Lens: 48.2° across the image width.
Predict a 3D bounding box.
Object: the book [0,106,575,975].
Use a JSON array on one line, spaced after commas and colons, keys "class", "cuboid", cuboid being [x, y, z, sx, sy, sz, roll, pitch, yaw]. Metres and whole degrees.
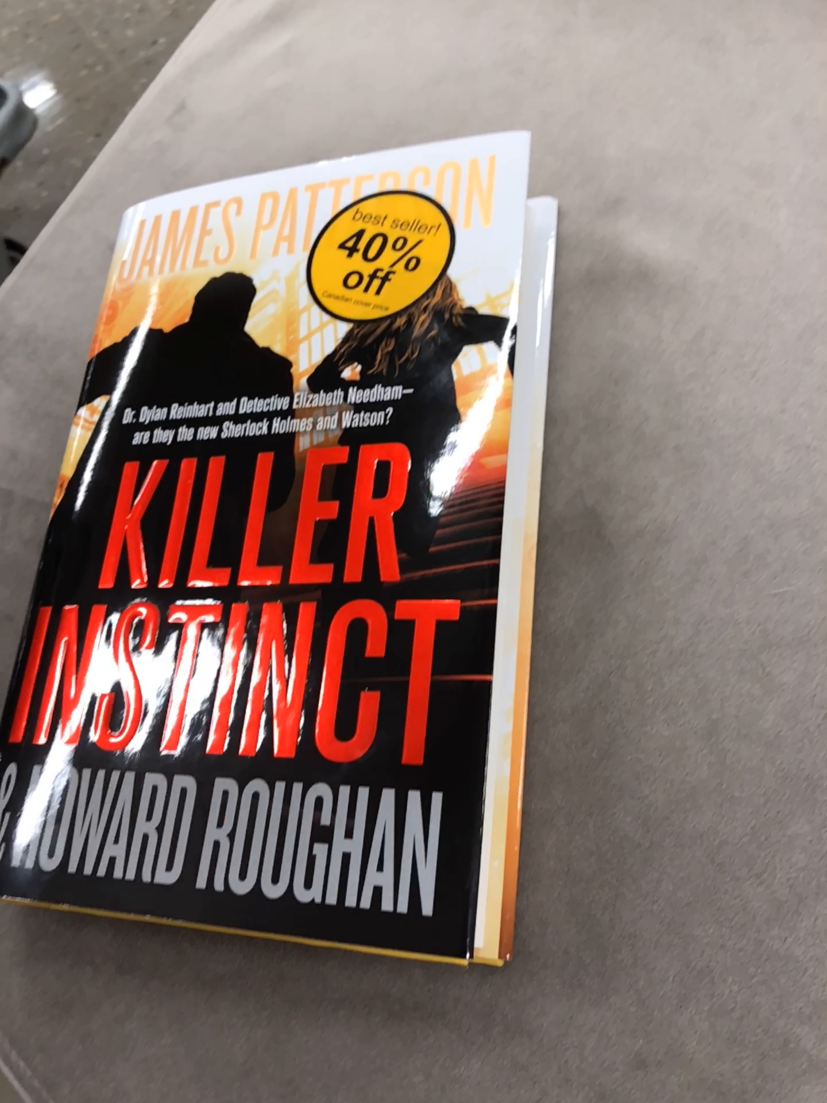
[{"class": "book", "cuboid": [-0.045, -0.013, 0.283, 0.172, 0.038, 0.238, -1, 69, 21]}]
